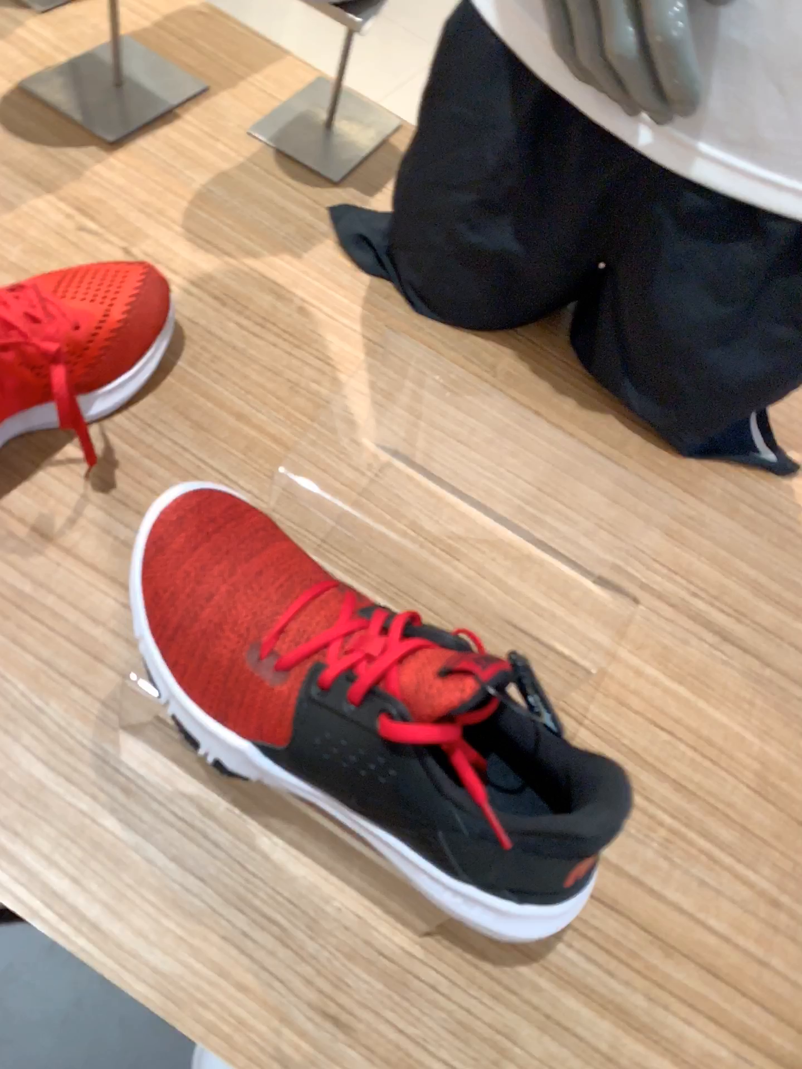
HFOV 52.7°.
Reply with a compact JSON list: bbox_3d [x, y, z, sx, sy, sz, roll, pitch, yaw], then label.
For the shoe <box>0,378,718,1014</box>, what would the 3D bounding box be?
[{"bbox_3d":[-0.022,0.067,0.362,0.290,0.080,0.111,36,56,7],"label":"shoe"}]
